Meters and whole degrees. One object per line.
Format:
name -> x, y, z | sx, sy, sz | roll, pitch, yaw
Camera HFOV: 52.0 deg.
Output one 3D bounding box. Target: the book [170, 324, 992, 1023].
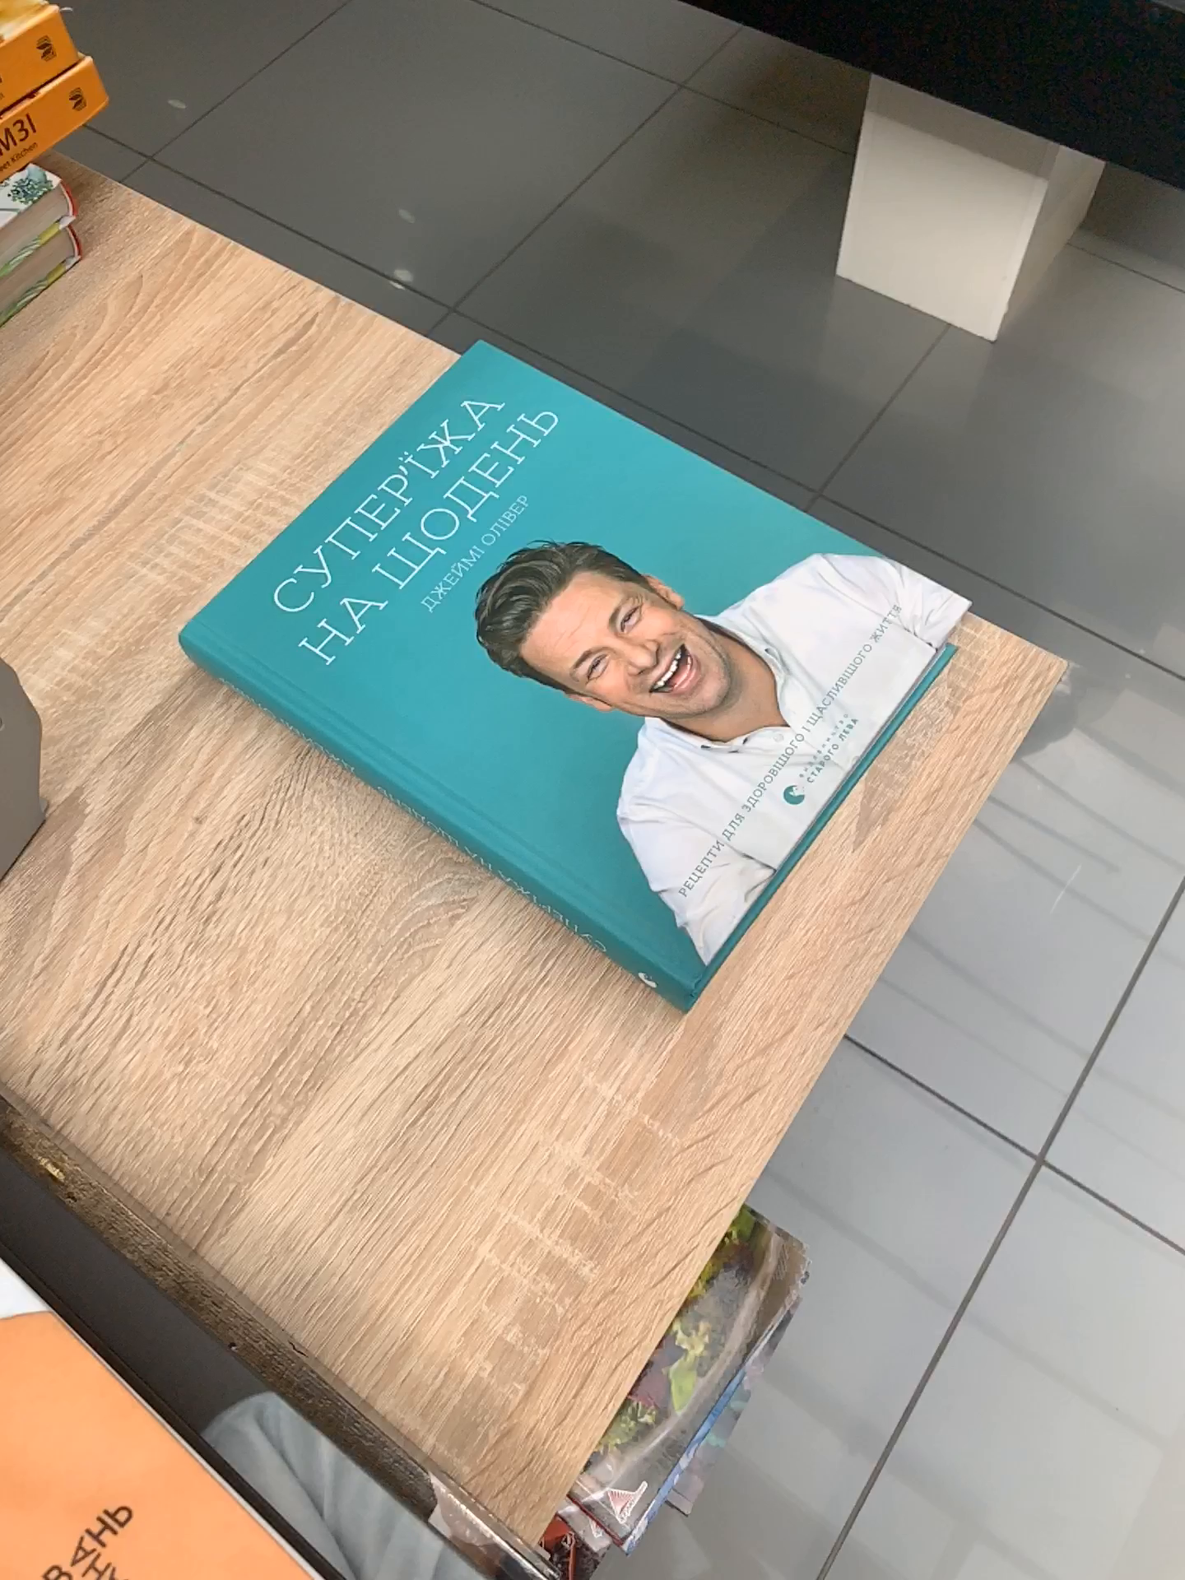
book -> -0.005, -0.063, 0.492 | 0.255, 0.030, 0.200 | 33, 70, 17
